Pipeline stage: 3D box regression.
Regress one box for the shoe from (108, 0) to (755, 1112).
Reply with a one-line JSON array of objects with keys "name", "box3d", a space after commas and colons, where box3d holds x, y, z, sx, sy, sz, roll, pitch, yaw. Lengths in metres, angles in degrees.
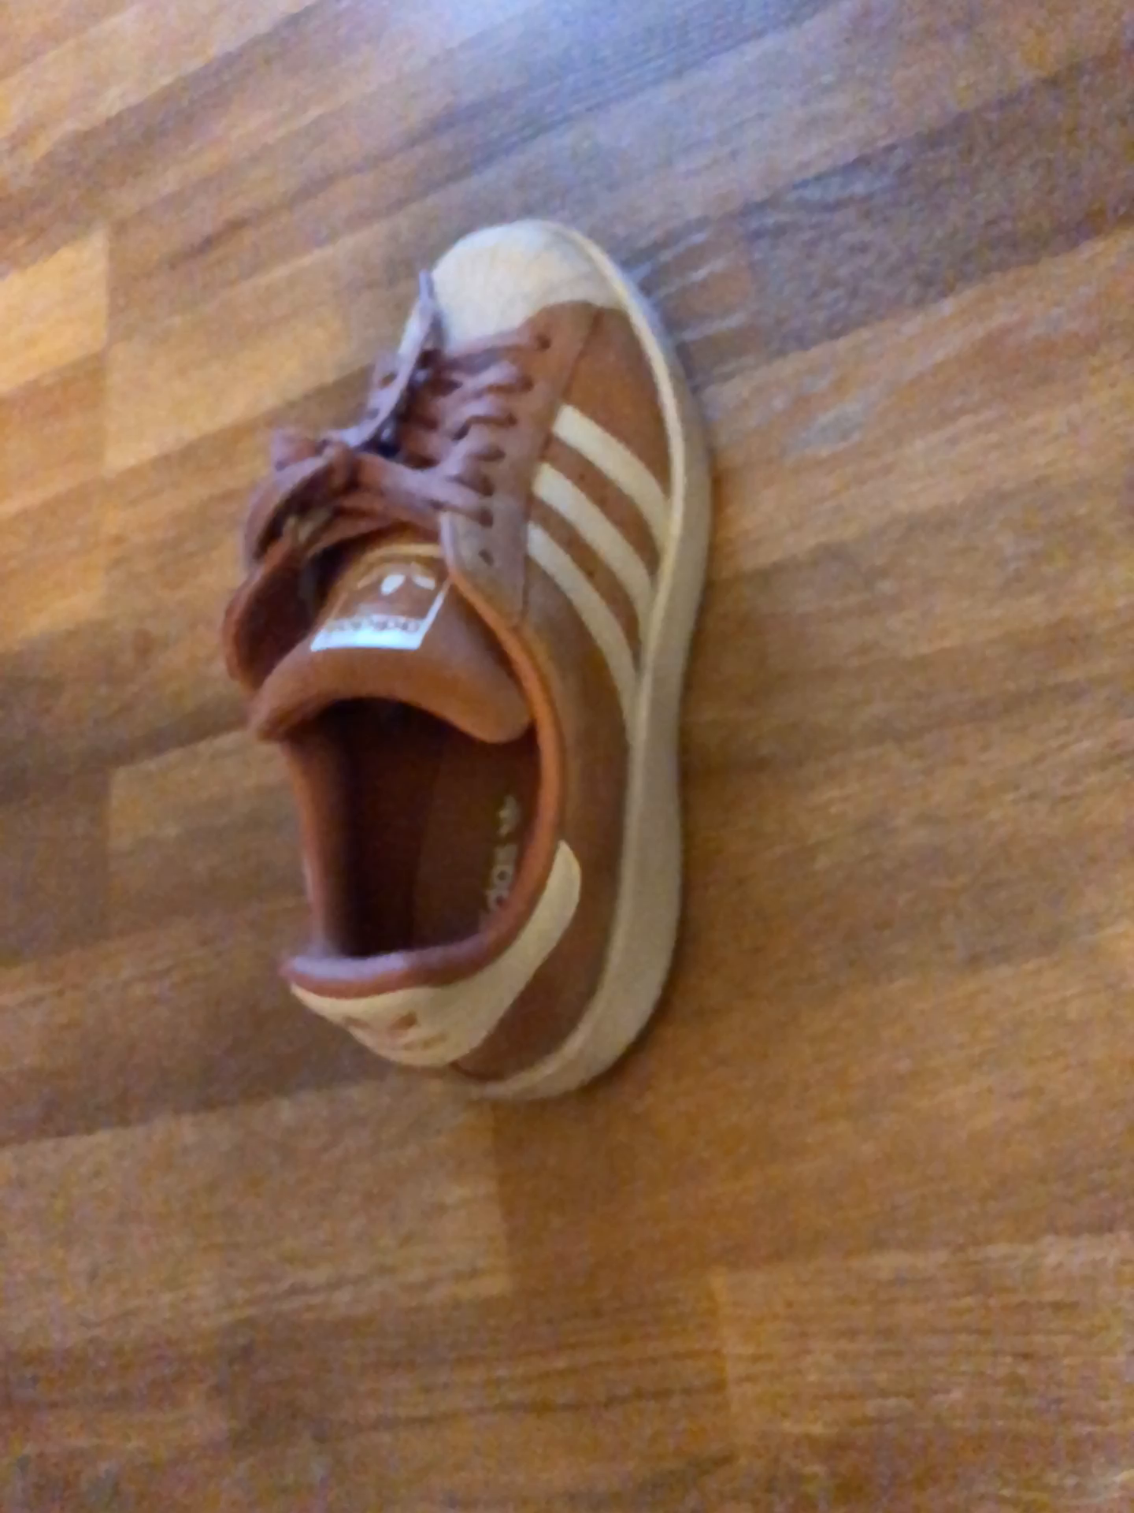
[{"name": "shoe", "box3d": [-0.028, -0.045, 0.341, 0.110, 0.110, 0.261, -9, 70, 23]}]
